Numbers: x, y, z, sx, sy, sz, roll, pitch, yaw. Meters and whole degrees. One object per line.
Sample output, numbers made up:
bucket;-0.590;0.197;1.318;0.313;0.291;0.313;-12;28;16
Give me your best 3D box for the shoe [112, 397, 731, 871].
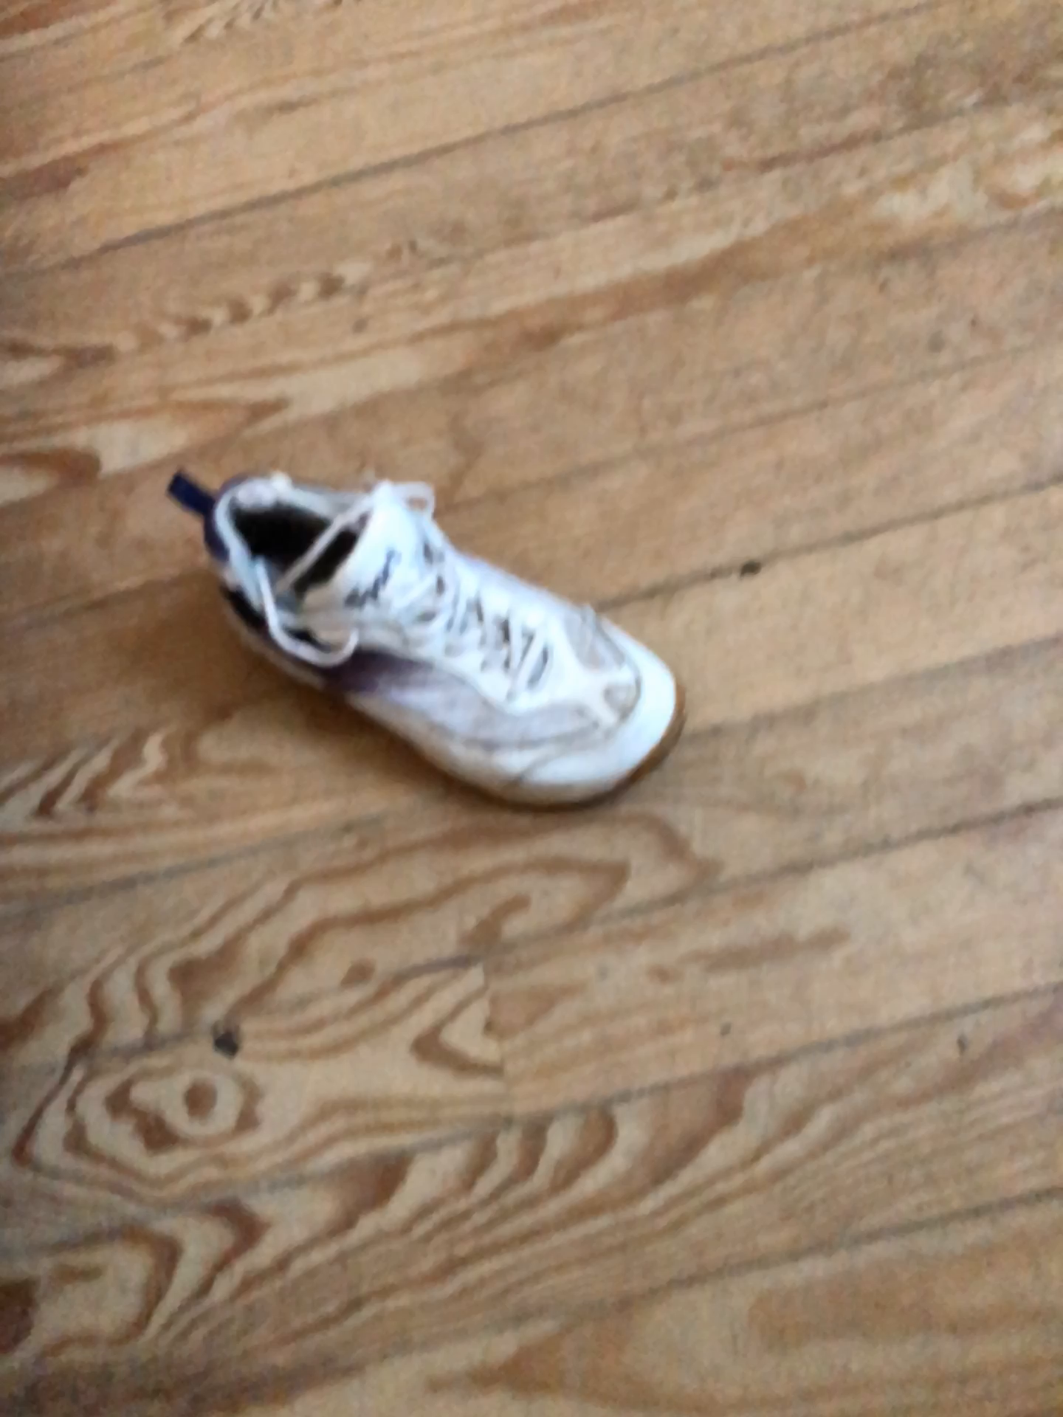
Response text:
shoe;-0.047;-0.035;0.572;0.260;0.100;0.110;25;78;14
